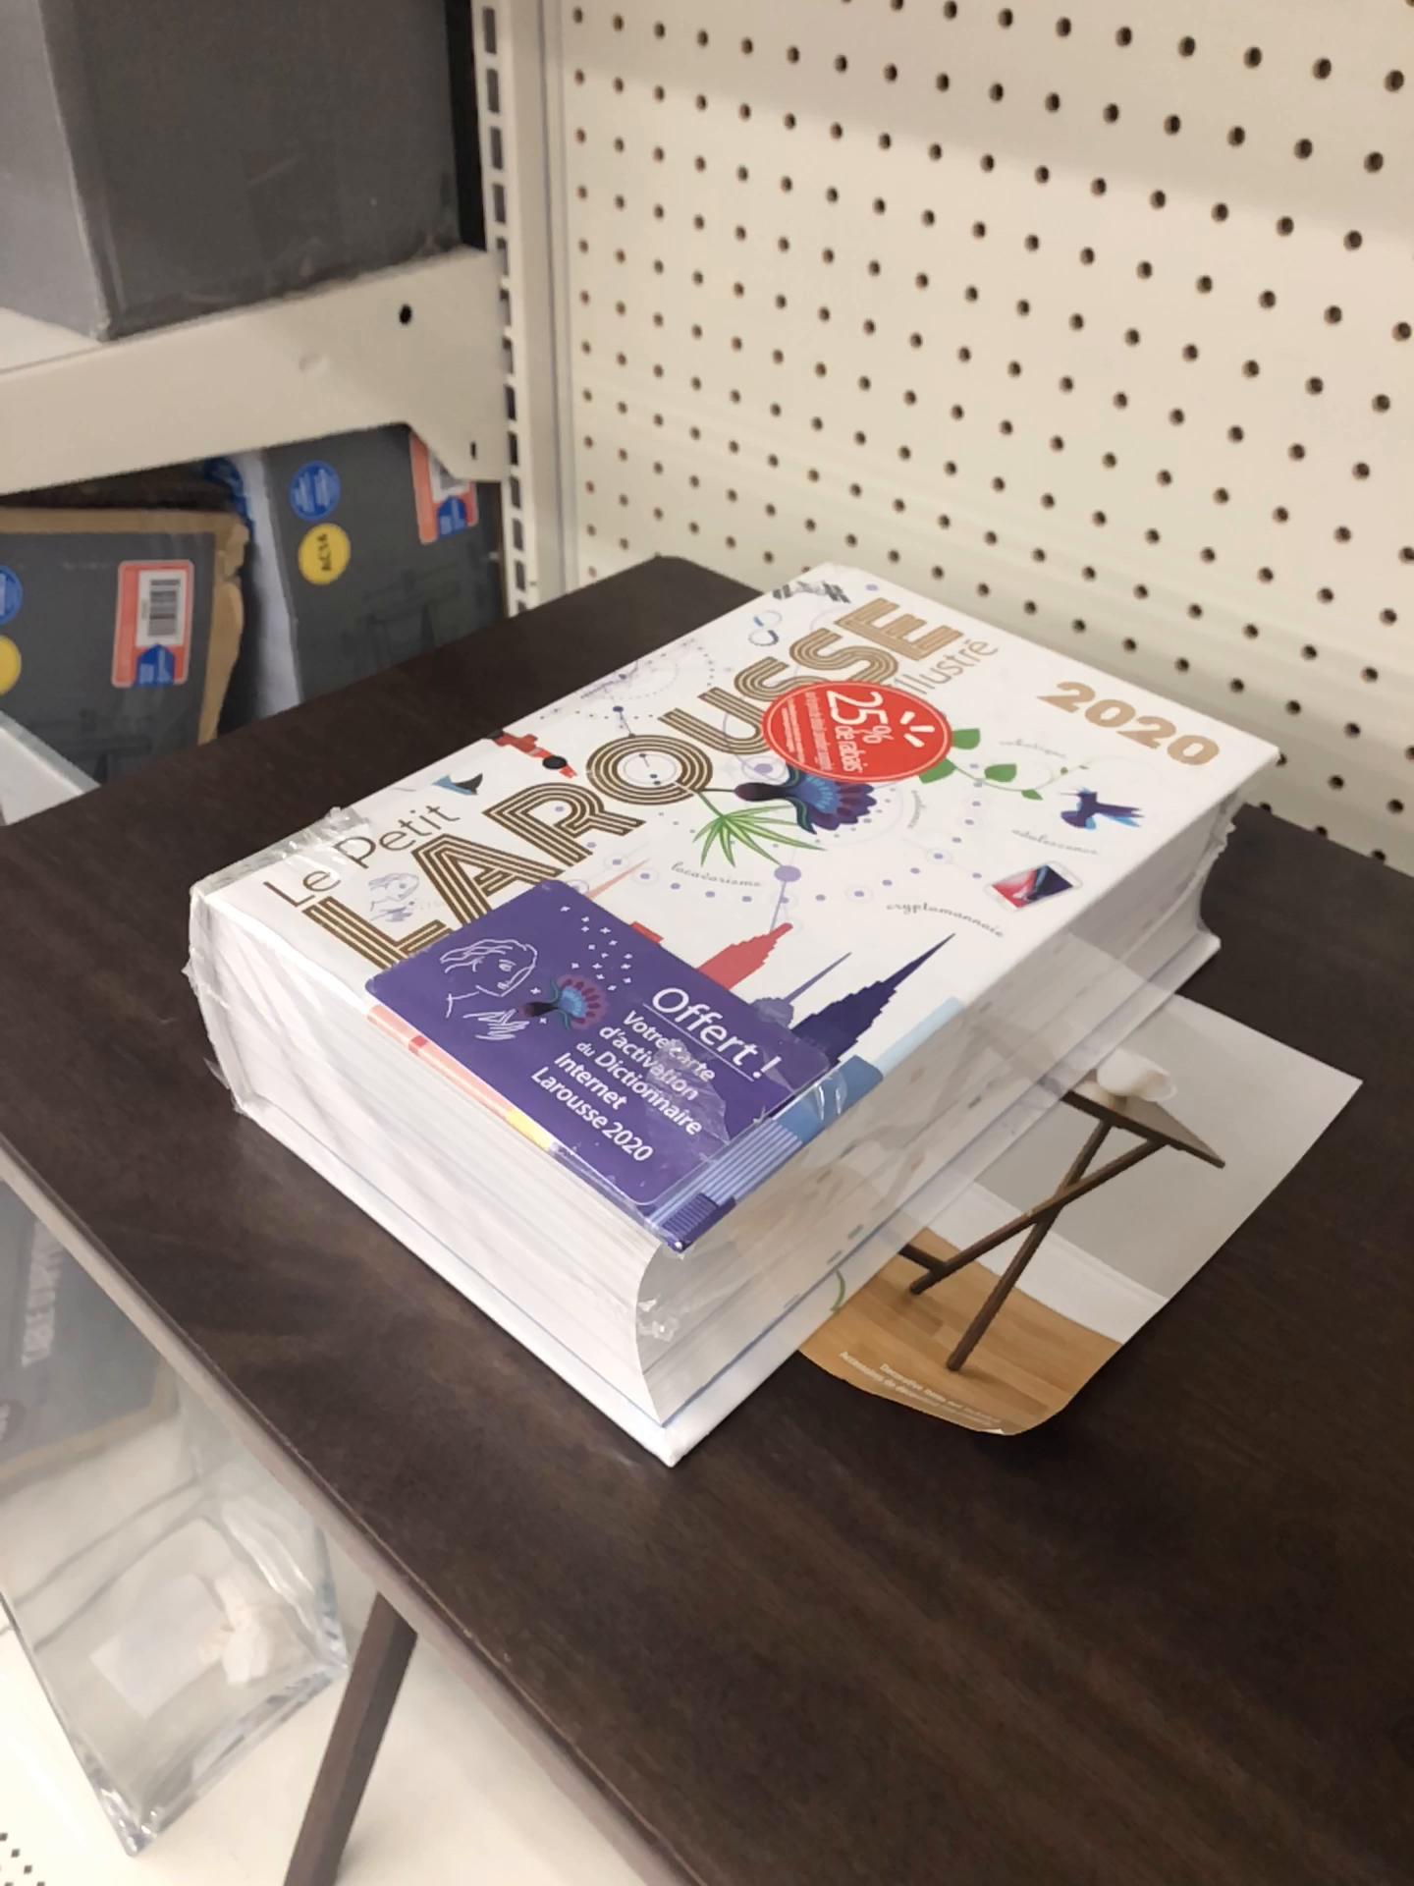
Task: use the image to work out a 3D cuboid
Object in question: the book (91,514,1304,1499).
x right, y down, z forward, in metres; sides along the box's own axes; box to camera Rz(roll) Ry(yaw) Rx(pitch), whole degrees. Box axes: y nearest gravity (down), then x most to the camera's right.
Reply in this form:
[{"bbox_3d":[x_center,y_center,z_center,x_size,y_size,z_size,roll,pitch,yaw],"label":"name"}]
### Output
[{"bbox_3d":[0.006,-0.013,0.385,0.171,0.069,0.231,31,47,31],"label":"book"}]
